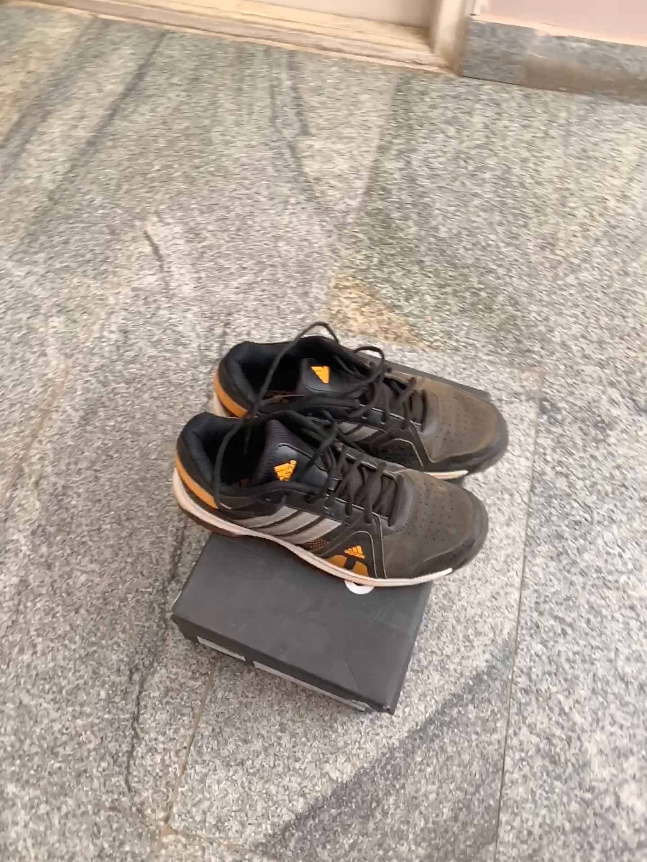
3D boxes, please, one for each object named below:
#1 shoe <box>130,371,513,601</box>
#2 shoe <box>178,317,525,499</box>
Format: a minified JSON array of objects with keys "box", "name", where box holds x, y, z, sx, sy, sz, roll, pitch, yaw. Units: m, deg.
[{"box":[0.001,0.047,0.571,0.290,0.090,0.111,12,60,6],"name":"shoe"},{"box":[0.028,-0.021,0.635,0.300,0.090,0.110,8,68,4],"name":"shoe"}]
